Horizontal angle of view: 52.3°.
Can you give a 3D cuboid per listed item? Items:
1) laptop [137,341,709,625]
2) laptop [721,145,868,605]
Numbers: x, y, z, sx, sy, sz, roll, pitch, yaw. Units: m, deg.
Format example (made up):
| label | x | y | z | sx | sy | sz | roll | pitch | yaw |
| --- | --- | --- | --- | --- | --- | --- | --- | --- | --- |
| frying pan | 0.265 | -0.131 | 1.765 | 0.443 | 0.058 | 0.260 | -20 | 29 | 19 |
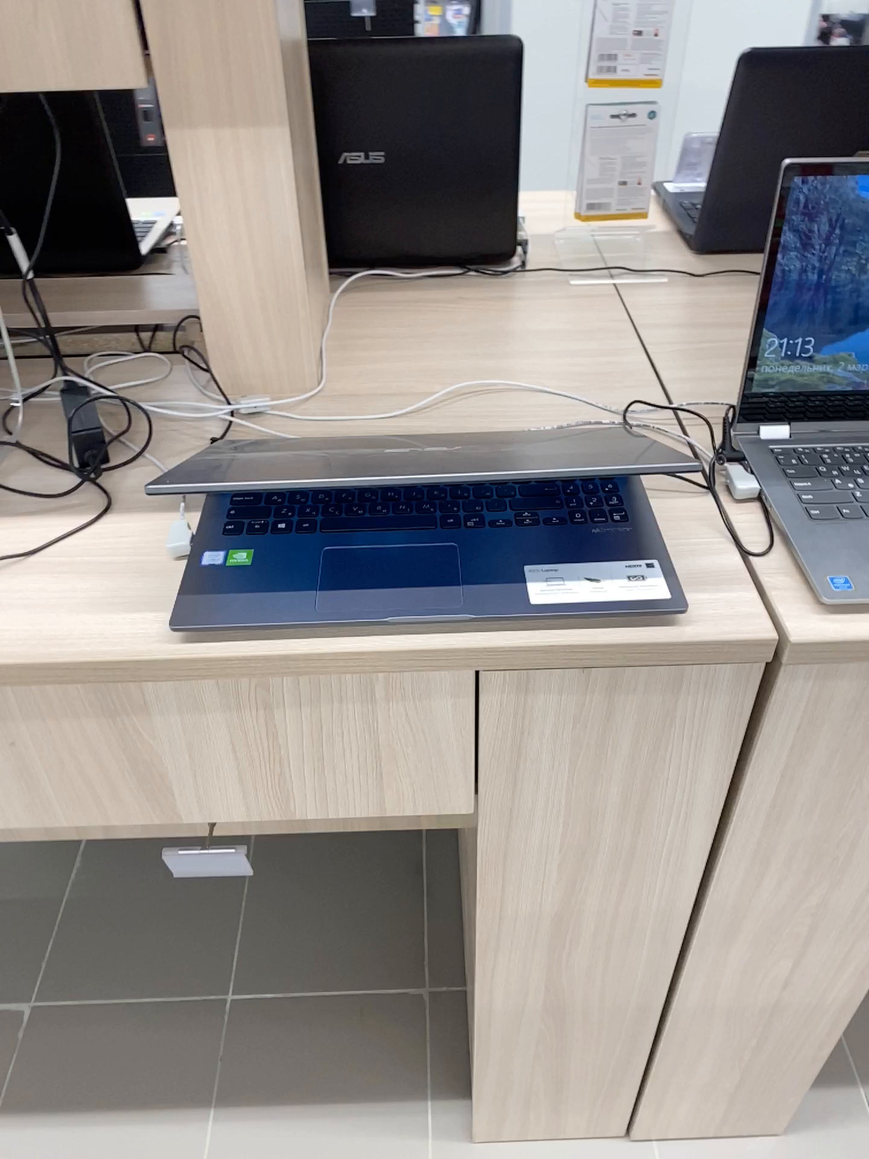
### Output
| label | x | y | z | sx | sy | sz | roll | pitch | yaw |
| --- | --- | --- | --- | --- | --- | --- | --- | --- | --- |
| laptop | -0.007 | -0.083 | 0.667 | 0.354 | 0.097 | 0.231 | -1 | 39 | -1 |
| laptop | 0.443 | -0.160 | 0.652 | 0.351 | 0.222 | 0.260 | -2 | 40 | -2 |
